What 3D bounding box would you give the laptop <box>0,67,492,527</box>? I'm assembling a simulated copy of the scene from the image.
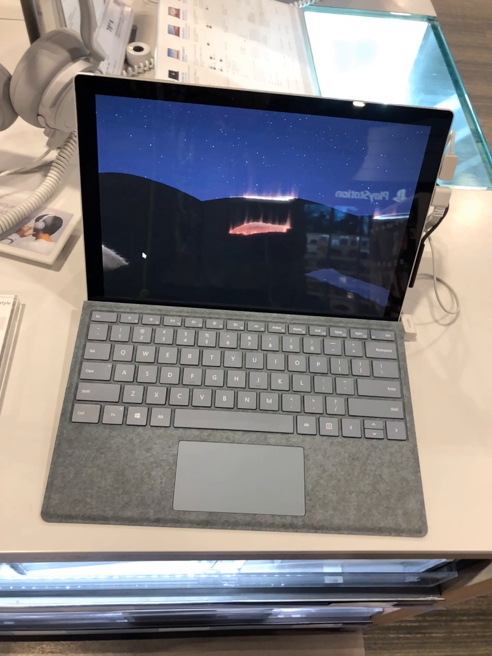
[{"bbox_3d":[0.014,-0.025,0.398,0.261,0.143,0.284,4,61,0],"label":"laptop"}]
